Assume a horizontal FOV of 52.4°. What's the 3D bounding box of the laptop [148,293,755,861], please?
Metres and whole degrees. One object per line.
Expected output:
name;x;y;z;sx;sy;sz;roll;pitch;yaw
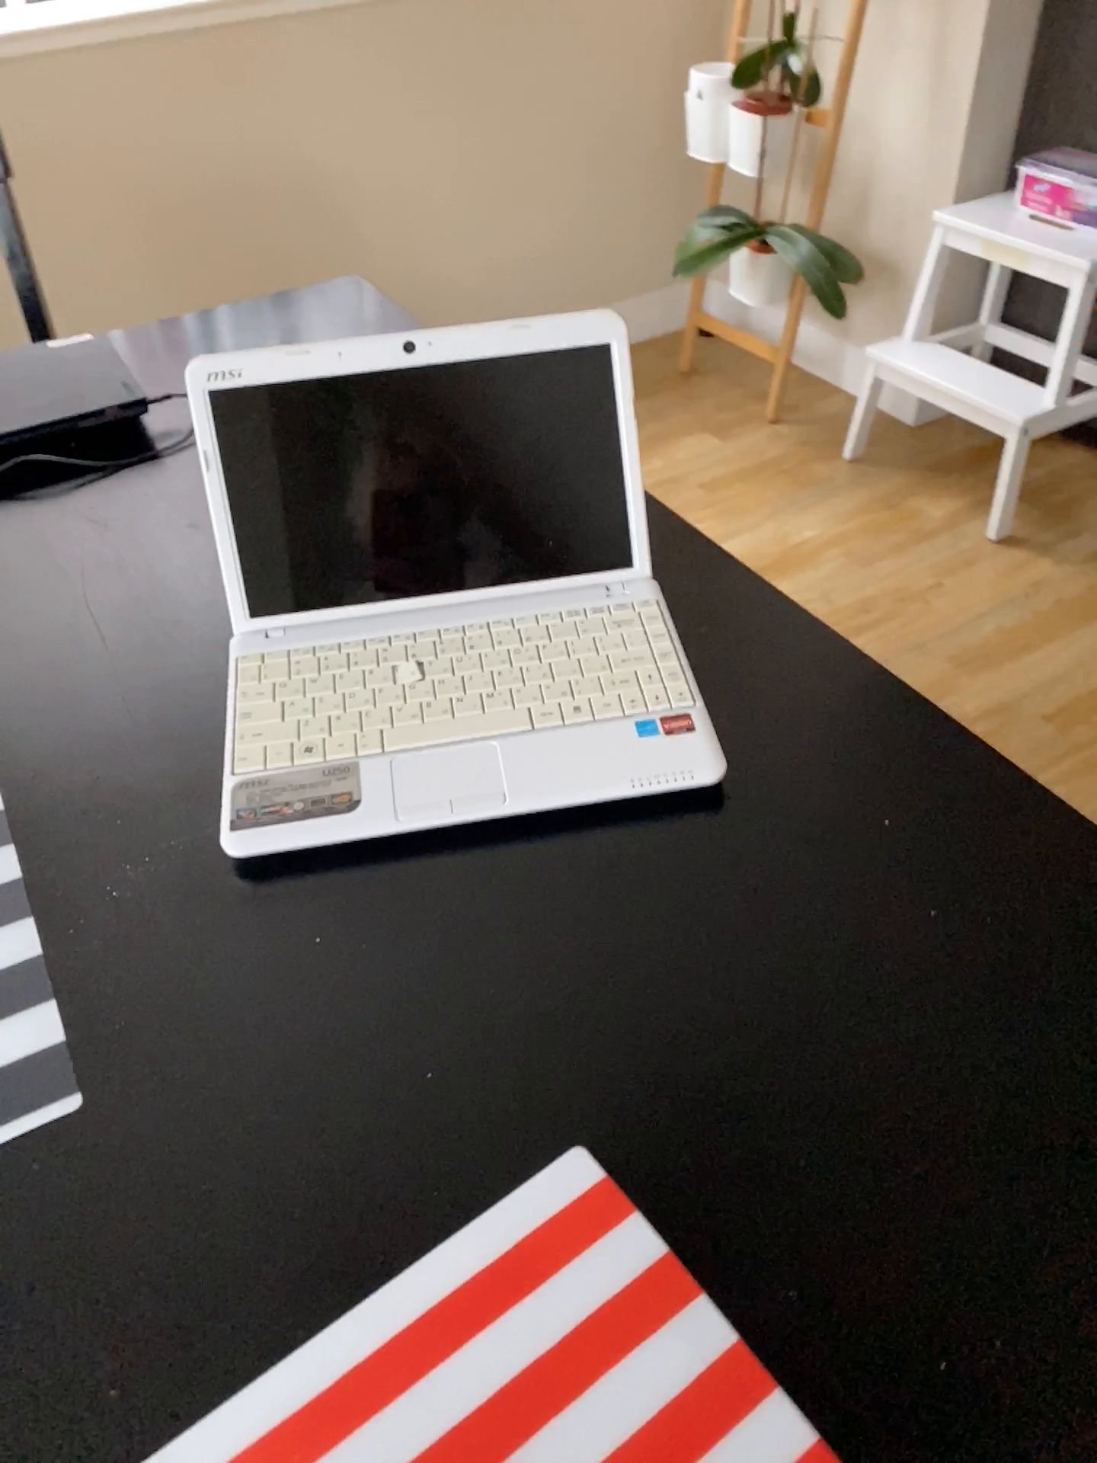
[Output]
laptop;-0.065;-0.113;0.691;0.294;0.153;0.302;-9;45;-5
